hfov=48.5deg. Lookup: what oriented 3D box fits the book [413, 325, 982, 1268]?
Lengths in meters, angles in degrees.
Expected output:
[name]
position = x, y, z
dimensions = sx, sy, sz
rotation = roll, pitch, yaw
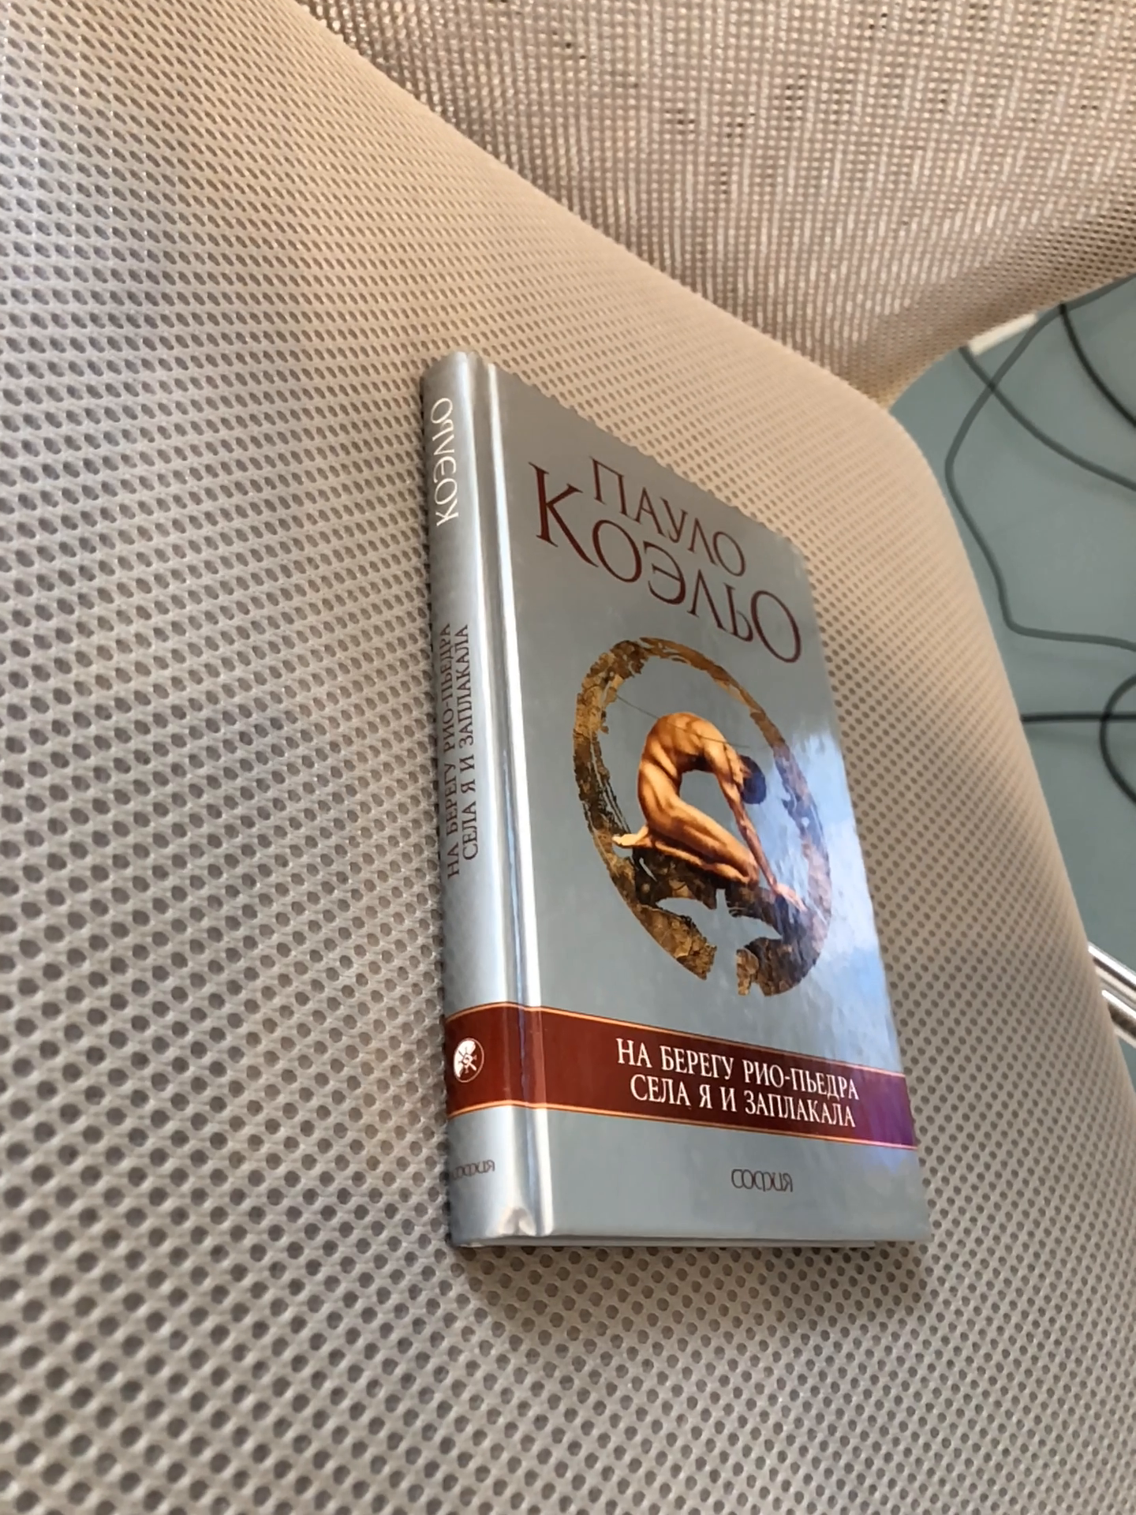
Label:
[book]
position = 0.027, 0.012, 0.263
dimensions = 0.131, 0.020, 0.174
rotation = 20, 55, -41
